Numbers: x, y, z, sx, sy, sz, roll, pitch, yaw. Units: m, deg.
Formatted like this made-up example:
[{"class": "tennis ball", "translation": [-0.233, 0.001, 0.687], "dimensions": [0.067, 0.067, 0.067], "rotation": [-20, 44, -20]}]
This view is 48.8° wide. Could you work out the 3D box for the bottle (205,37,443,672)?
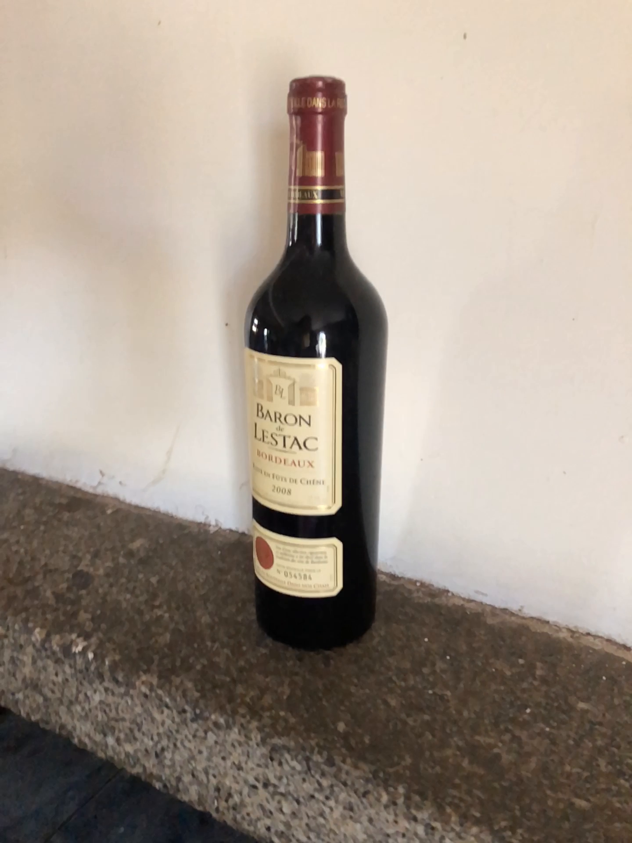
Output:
[{"class": "bottle", "translation": [0.006, -0.026, 0.349], "dimensions": [0.080, 0.279, 0.070], "rotation": [11, 20, 31]}]
